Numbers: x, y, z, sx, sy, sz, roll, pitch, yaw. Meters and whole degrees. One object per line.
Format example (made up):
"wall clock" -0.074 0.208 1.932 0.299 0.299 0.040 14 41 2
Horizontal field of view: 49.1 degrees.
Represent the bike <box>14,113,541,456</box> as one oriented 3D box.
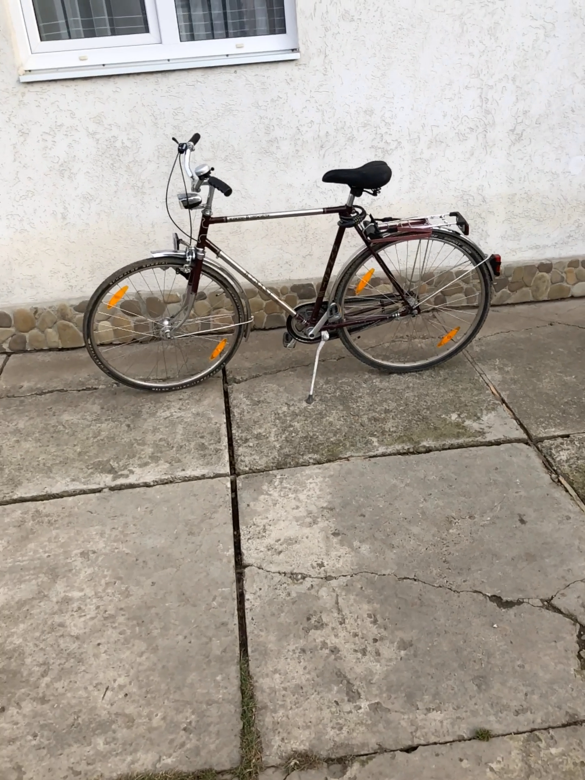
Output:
"bike" -0.008 -0.441 2.583 1.709 1.054 0.600 -6 29 -3
